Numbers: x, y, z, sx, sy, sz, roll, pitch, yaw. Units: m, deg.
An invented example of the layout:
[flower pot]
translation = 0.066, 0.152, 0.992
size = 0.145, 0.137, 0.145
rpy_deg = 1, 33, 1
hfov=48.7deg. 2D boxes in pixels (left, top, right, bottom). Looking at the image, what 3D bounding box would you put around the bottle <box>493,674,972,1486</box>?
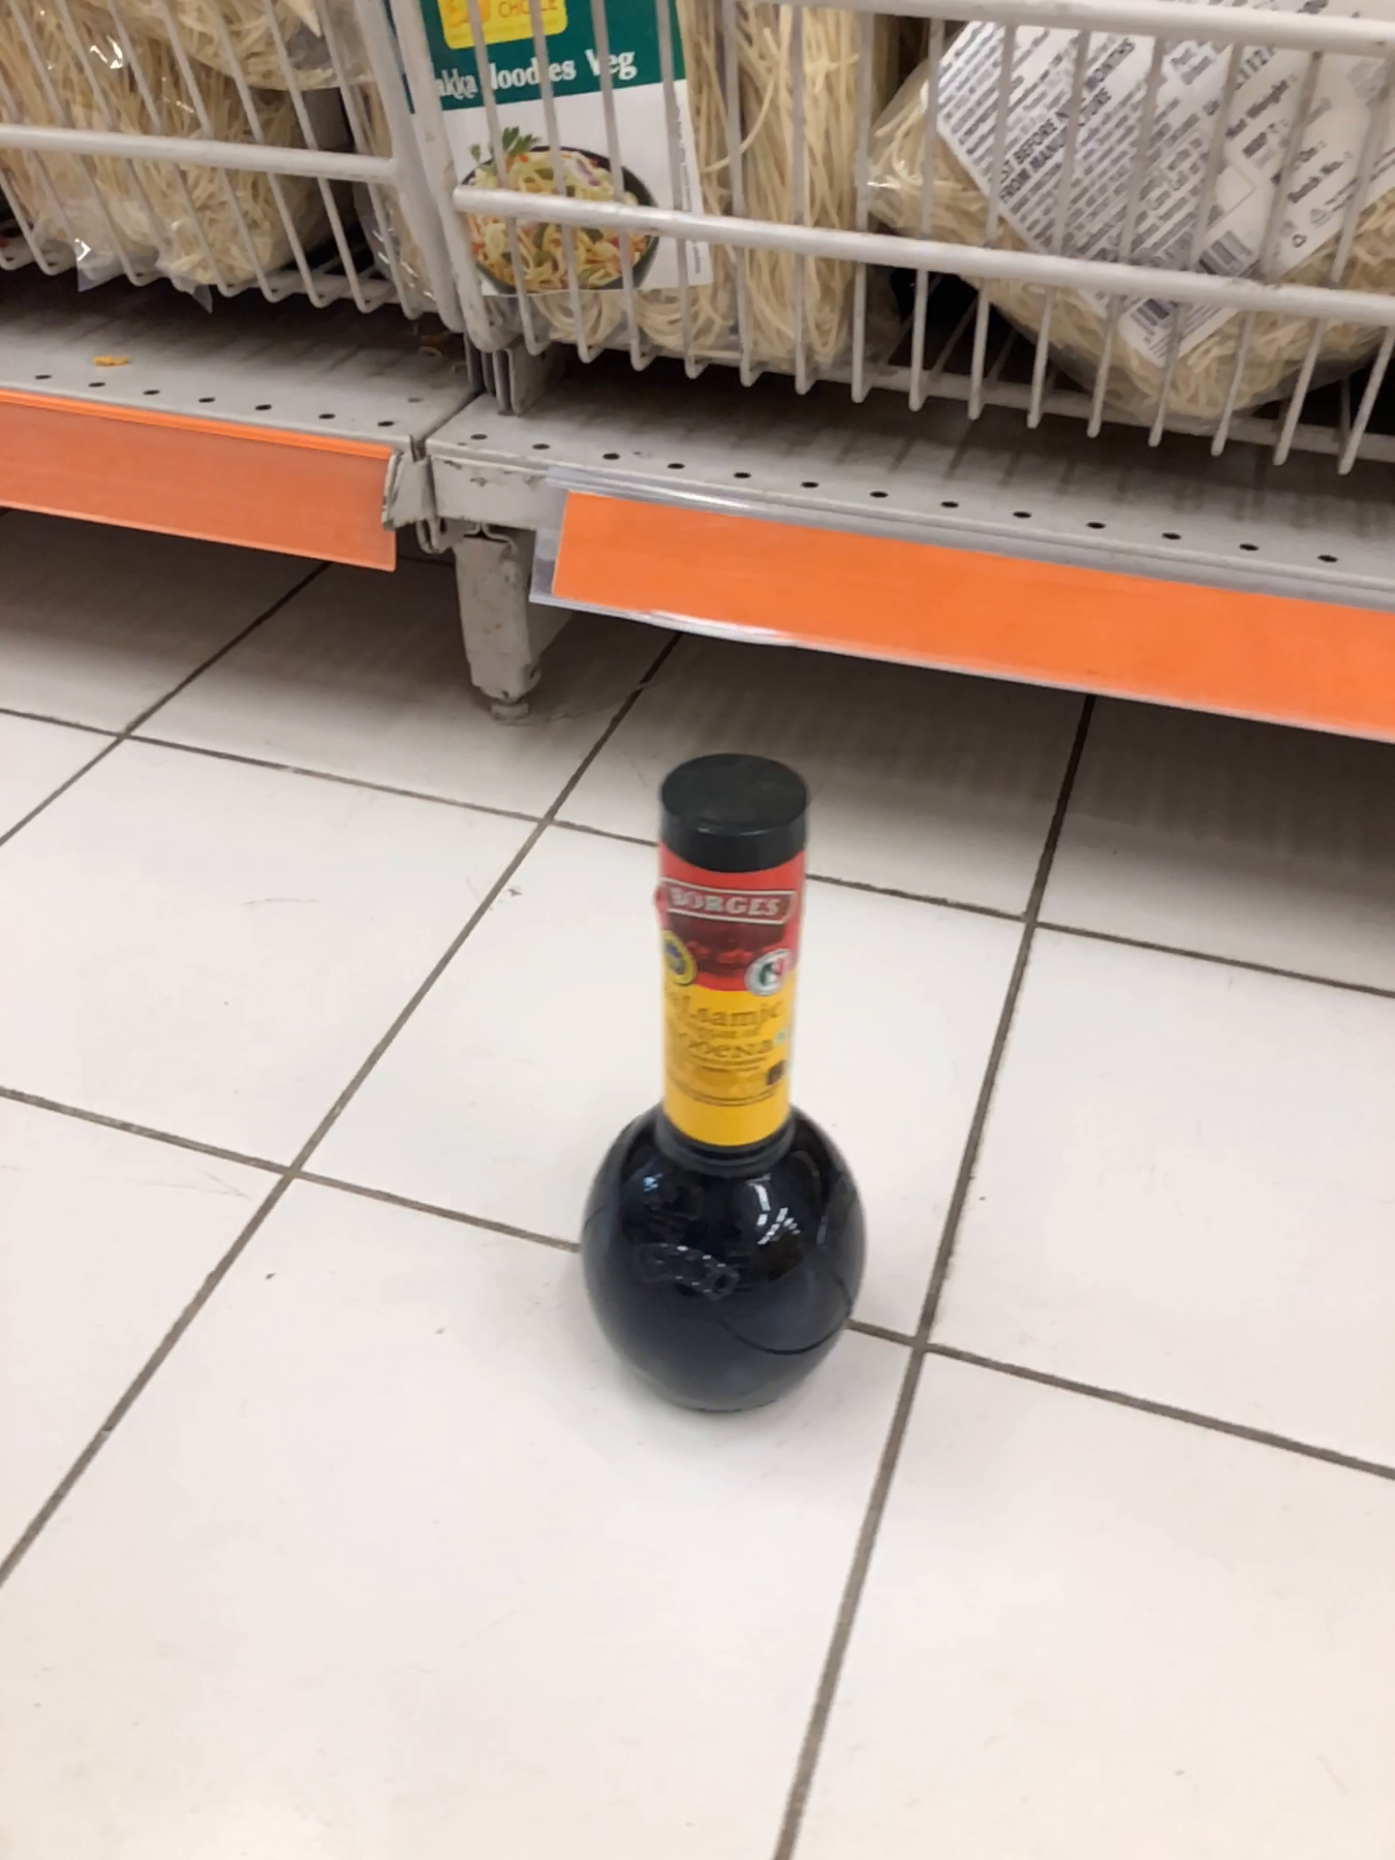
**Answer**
[bottle]
translation = 0.011, 0.041, 0.382
size = 0.080, 0.179, 0.081
rpy_deg = 0, 38, 0
